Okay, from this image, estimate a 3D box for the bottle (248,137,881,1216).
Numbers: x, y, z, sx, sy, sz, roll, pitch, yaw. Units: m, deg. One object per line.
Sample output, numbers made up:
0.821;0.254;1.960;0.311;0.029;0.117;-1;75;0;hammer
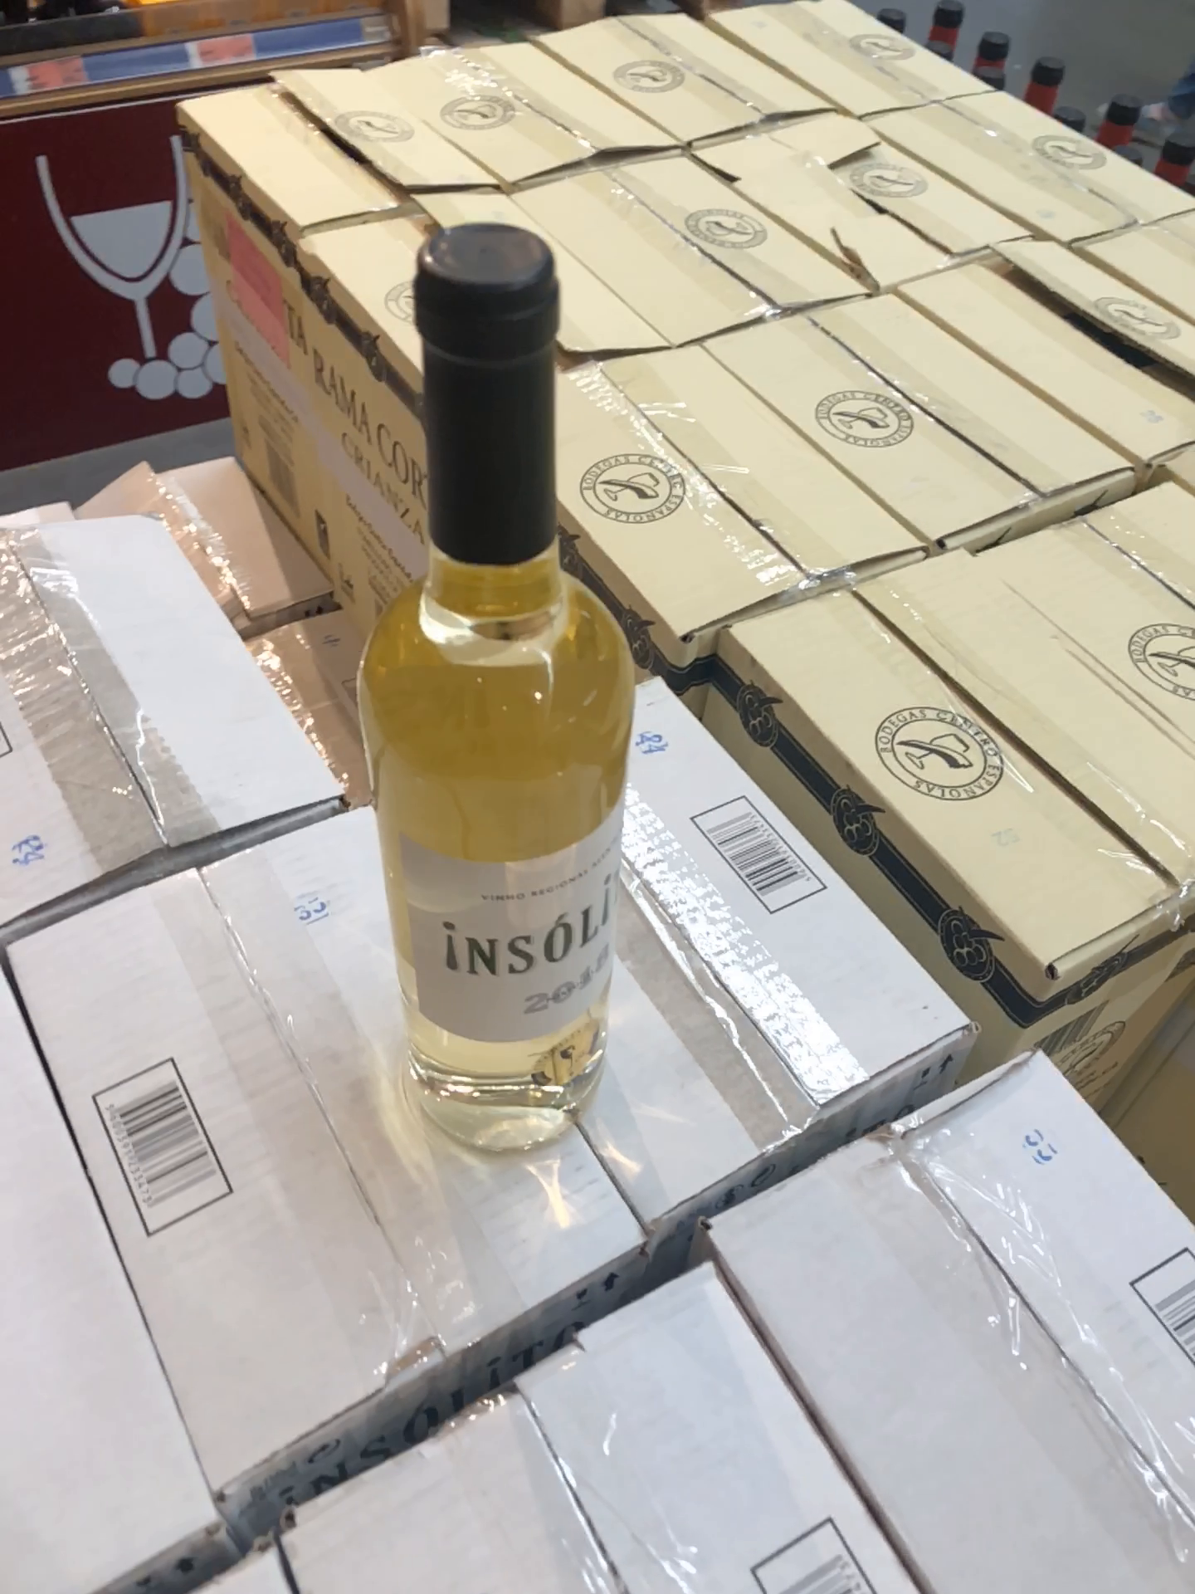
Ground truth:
-0.018;-0.007;0.371;0.090;0.298;0.090;3;48;-3;bottle
